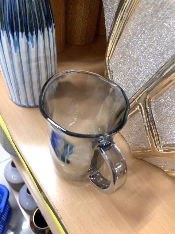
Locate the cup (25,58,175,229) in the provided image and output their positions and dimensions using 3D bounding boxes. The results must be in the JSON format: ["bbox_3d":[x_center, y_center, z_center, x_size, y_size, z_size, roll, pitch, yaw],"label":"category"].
[{"bbox_3d":[0.002,0.027,0.181,0.070,0.110,0.110,-24,58,-25],"label":"cup"}]
